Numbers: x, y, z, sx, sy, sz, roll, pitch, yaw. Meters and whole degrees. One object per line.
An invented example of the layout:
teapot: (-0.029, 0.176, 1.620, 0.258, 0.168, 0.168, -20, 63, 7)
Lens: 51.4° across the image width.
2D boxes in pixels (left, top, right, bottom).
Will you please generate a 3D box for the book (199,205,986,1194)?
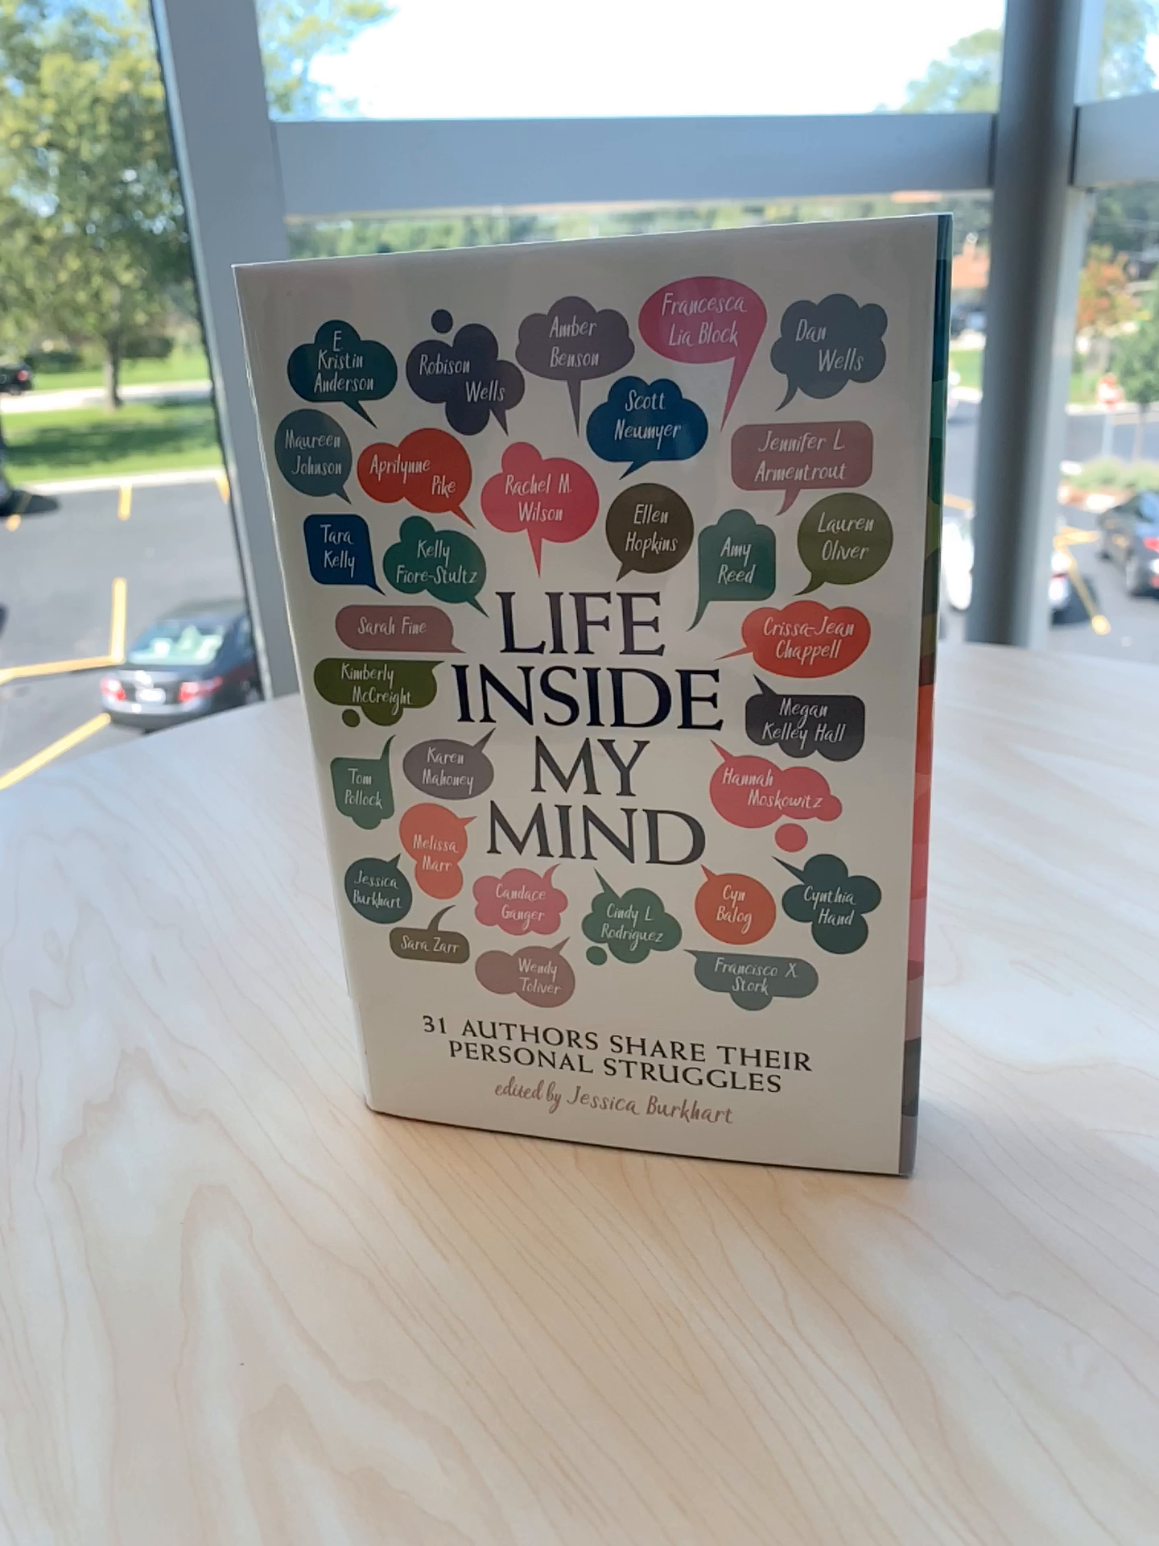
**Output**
book: (0.007, -0.007, 0.280, 0.150, 0.218, 0.030, 3, 25, 14)
